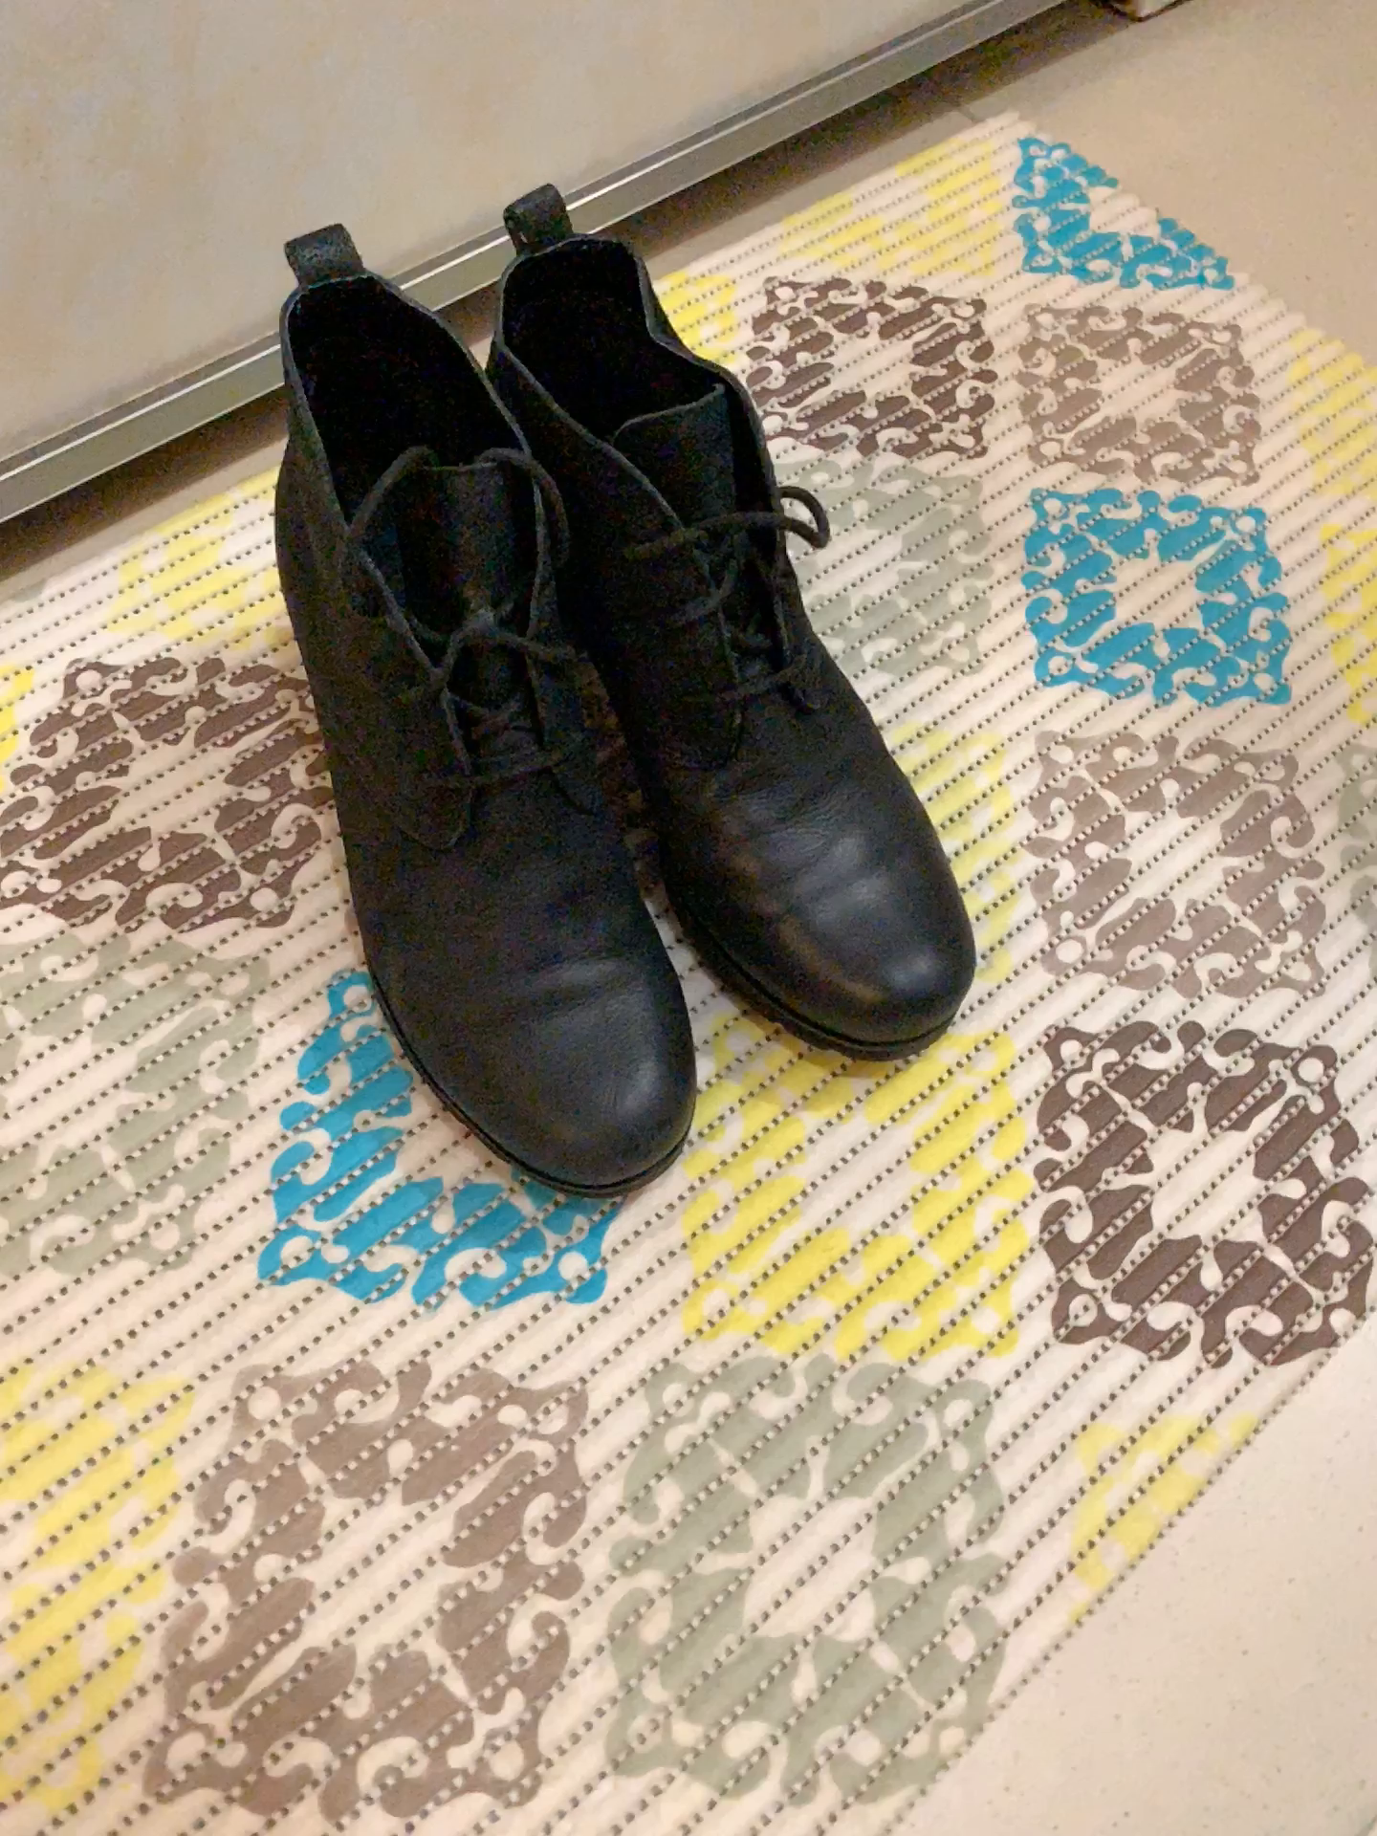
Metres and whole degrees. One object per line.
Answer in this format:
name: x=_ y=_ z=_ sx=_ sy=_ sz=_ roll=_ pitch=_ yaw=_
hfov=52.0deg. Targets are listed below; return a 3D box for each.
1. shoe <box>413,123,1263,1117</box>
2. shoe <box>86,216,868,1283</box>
shoe: x=0.022 y=-0.083 z=0.411 sx=0.090 sy=0.150 sz=0.230 roll=-29 pitch=68 yaw=-19
shoe: x=-0.063 y=-0.043 z=0.384 sx=0.090 sy=0.150 sz=0.230 roll=-23 pitch=66 yaw=-17
